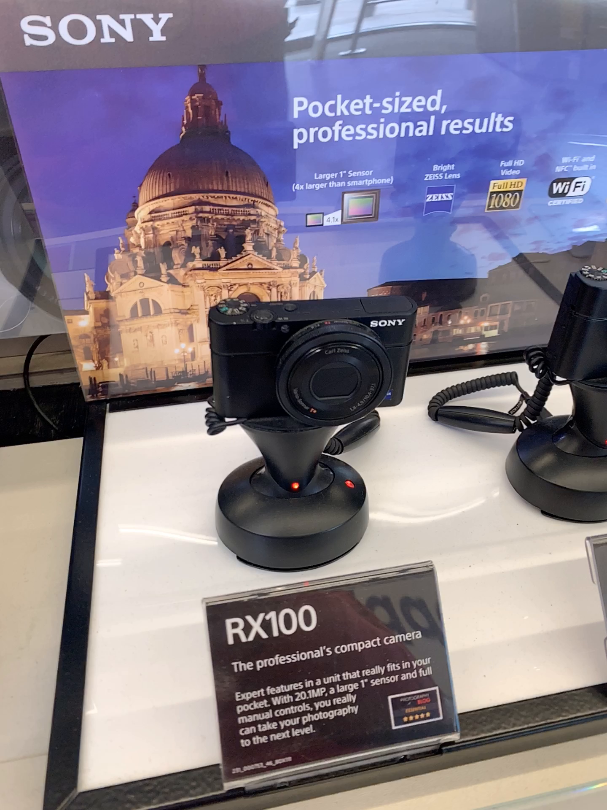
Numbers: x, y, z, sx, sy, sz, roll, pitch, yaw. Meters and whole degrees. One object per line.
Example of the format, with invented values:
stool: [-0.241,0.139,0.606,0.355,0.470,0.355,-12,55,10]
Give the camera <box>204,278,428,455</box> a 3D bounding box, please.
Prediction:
camera: [0.004,-0.020,0.315,0.100,0.069,0.040,-6,39,-8]
